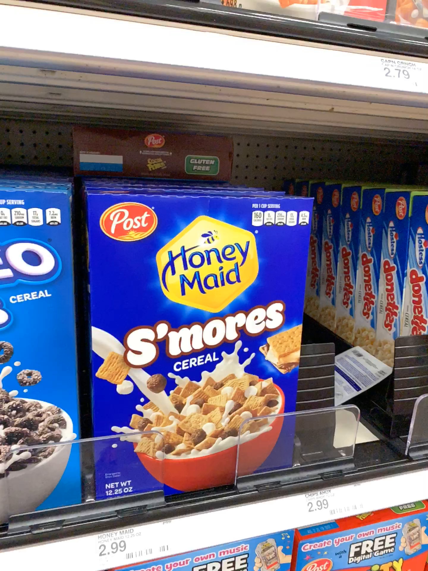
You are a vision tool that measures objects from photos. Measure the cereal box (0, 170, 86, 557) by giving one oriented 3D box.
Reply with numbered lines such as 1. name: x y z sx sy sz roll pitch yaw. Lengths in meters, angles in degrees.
1. cereal box: -0.201 0.051 0.347 0.180 0.269 0.070 -3 14 -19

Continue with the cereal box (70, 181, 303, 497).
1. cereal box: -0.028 0.044 0.412 0.190 0.269 0.060 -2 14 -16
